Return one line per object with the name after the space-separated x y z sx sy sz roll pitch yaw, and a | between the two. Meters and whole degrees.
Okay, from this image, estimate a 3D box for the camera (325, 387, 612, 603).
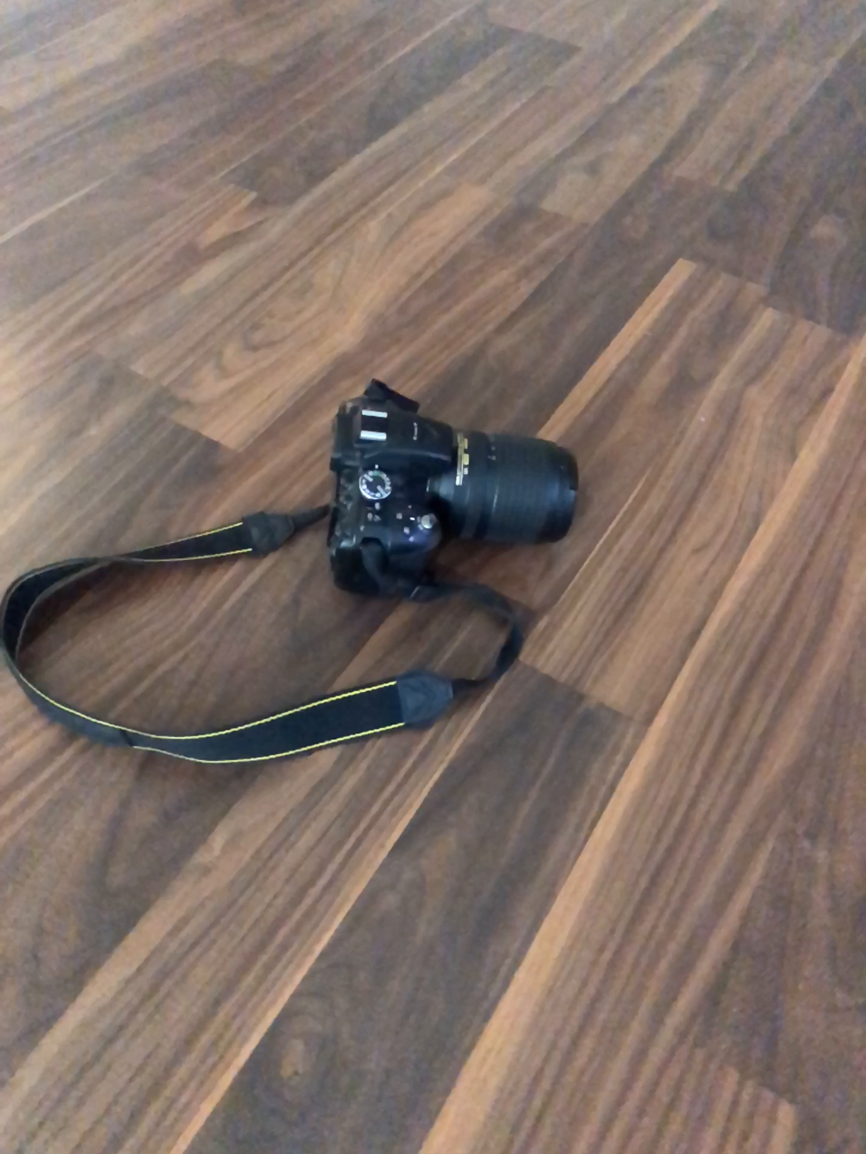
0.018 -0.053 0.596 0.160 0.070 0.120 0 50 -2 | camera
